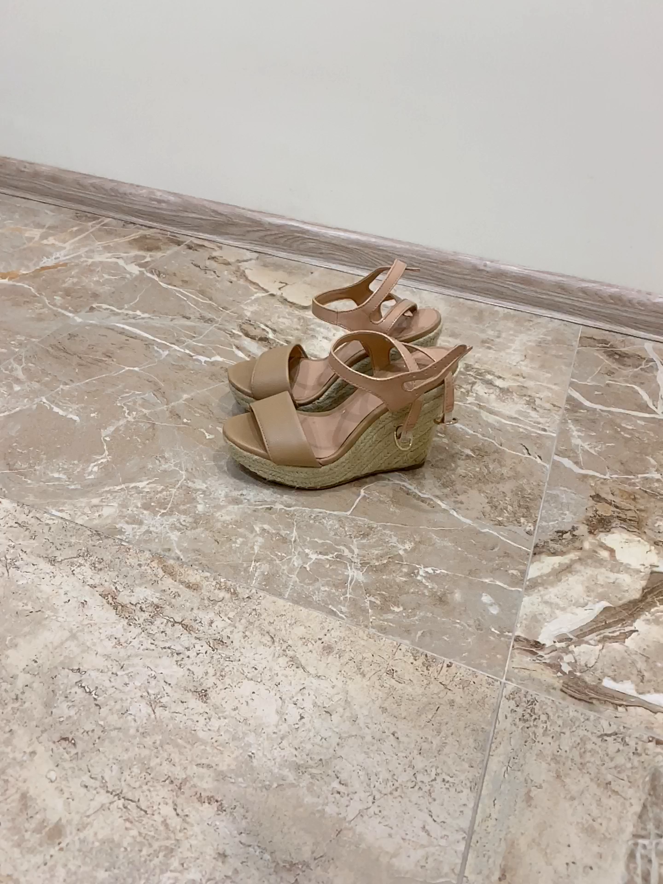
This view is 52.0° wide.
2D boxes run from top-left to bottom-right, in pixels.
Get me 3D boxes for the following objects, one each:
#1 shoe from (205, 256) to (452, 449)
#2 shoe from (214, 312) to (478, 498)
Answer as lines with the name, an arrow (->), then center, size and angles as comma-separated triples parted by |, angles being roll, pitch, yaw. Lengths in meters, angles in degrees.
shoe -> -0.006, -0.085, 0.660 | 0.210, 0.149, 0.091 | 3, 39, -1
shoe -> 0.005, -0.035, 0.609 | 0.210, 0.129, 0.091 | -3, 39, -9
